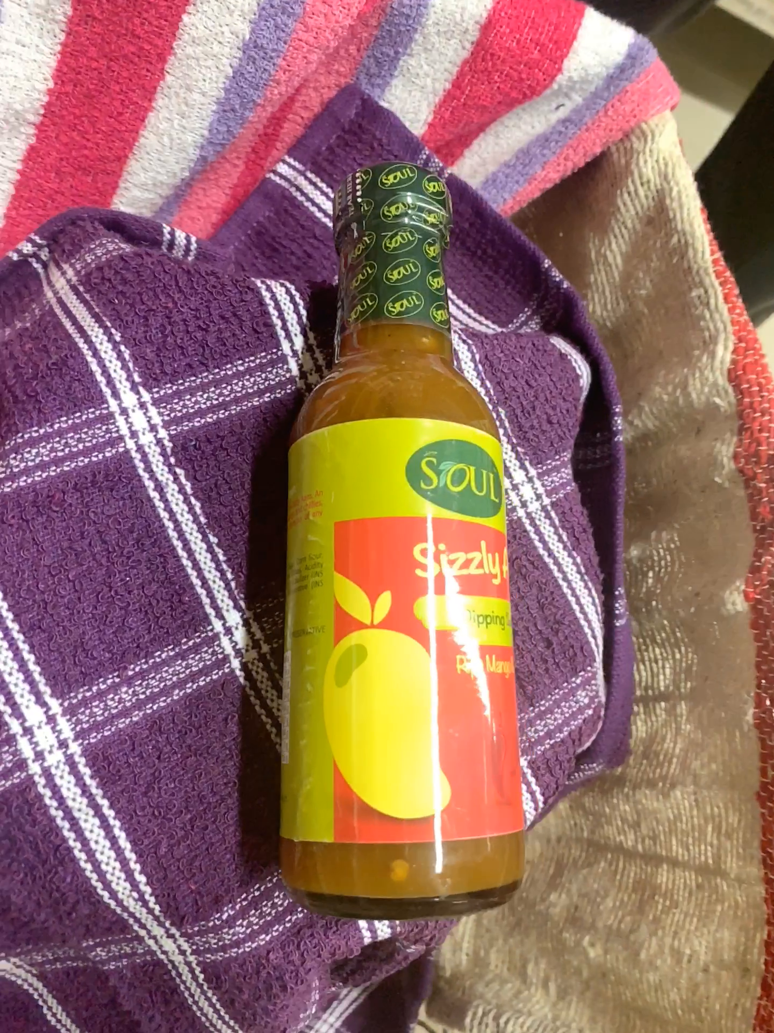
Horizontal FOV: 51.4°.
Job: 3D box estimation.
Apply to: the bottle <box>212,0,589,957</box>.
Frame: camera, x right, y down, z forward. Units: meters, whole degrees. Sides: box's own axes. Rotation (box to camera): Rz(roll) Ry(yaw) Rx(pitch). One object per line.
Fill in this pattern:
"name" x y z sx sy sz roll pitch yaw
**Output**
"bottle" -0.002 -0.014 0.196 0.060 0.060 0.200 6 73 -23
